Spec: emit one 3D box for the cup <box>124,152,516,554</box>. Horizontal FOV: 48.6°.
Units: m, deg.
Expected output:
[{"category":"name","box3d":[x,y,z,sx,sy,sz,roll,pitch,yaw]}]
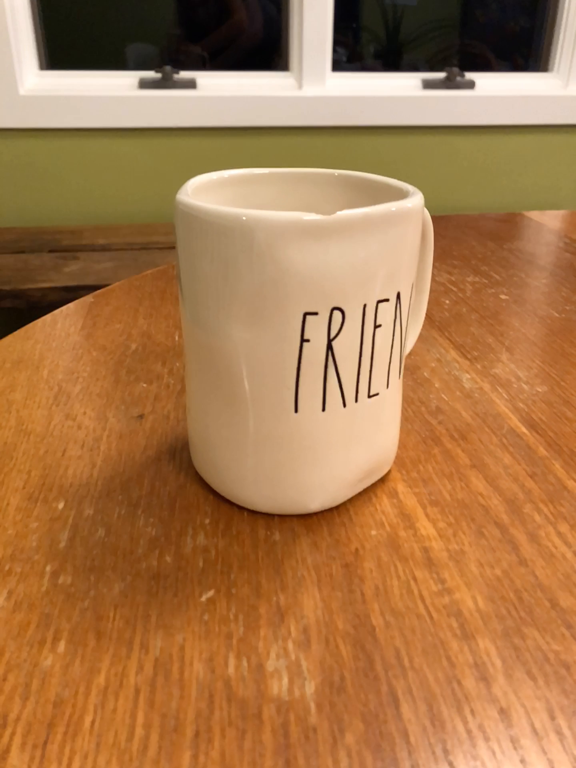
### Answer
[{"category":"cup","box3d":[0.016,-0.025,0.263,0.125,0.114,0.084,-24,36,-39]}]
